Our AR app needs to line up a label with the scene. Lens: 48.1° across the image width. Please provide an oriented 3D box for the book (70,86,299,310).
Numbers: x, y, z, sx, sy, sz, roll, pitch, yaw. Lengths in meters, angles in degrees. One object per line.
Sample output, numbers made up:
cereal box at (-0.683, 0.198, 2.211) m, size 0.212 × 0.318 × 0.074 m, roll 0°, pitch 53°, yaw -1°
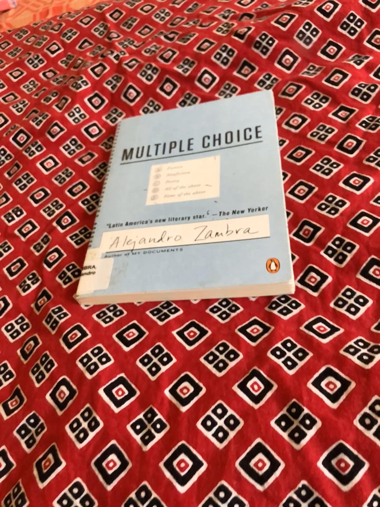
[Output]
book at (-0.001, -0.047, 0.301) m, size 0.133 × 0.020 × 0.176 m, roll -5°, pitch 53°, yaw 11°
